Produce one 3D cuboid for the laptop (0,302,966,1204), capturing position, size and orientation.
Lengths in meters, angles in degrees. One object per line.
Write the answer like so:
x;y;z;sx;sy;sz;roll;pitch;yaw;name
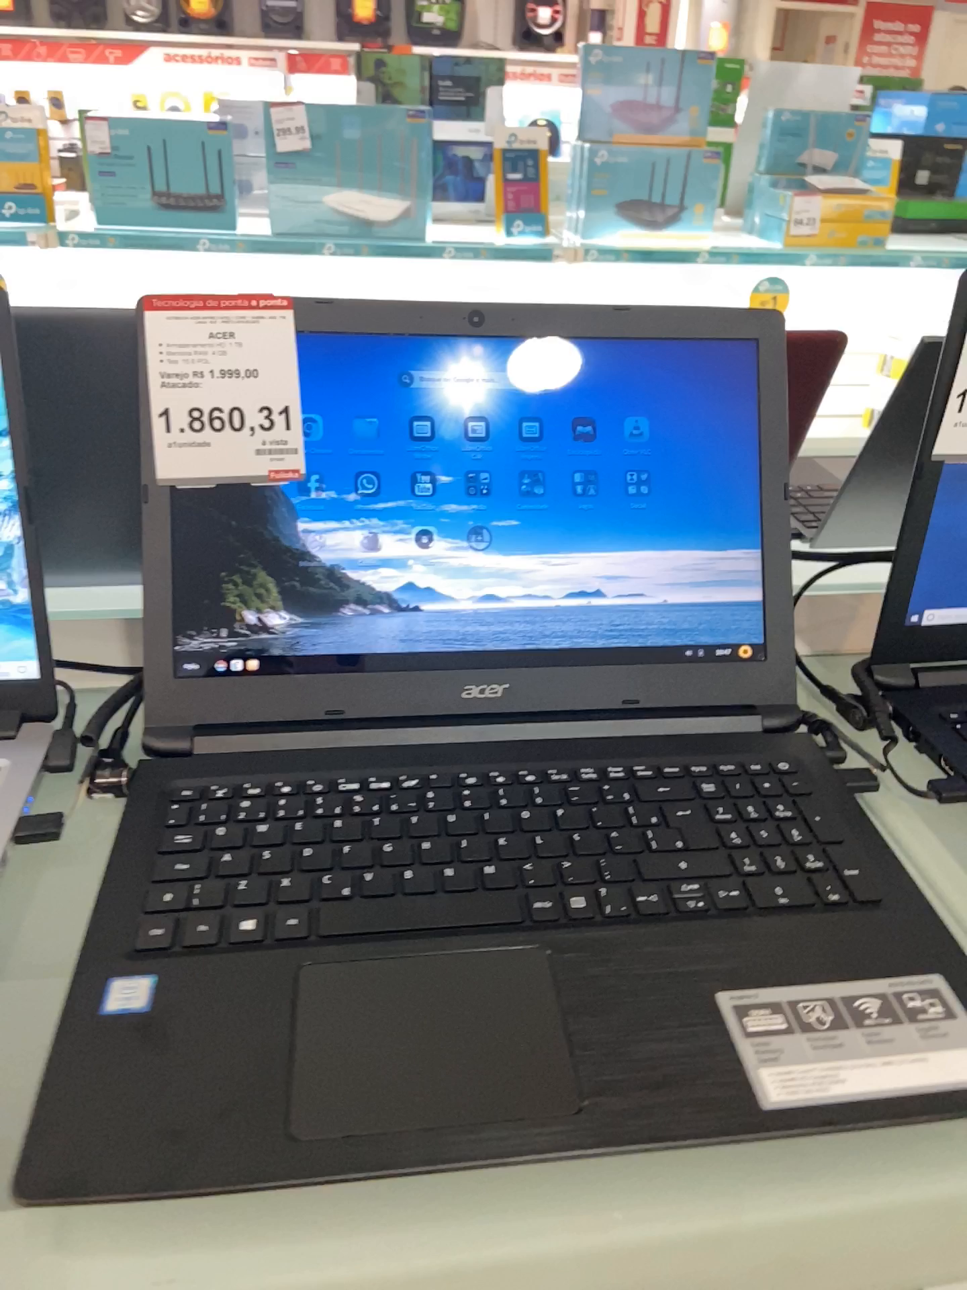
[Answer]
0.014;-0.011;0.466;0.379;0.215;0.381;-2;29;-7;laptop
